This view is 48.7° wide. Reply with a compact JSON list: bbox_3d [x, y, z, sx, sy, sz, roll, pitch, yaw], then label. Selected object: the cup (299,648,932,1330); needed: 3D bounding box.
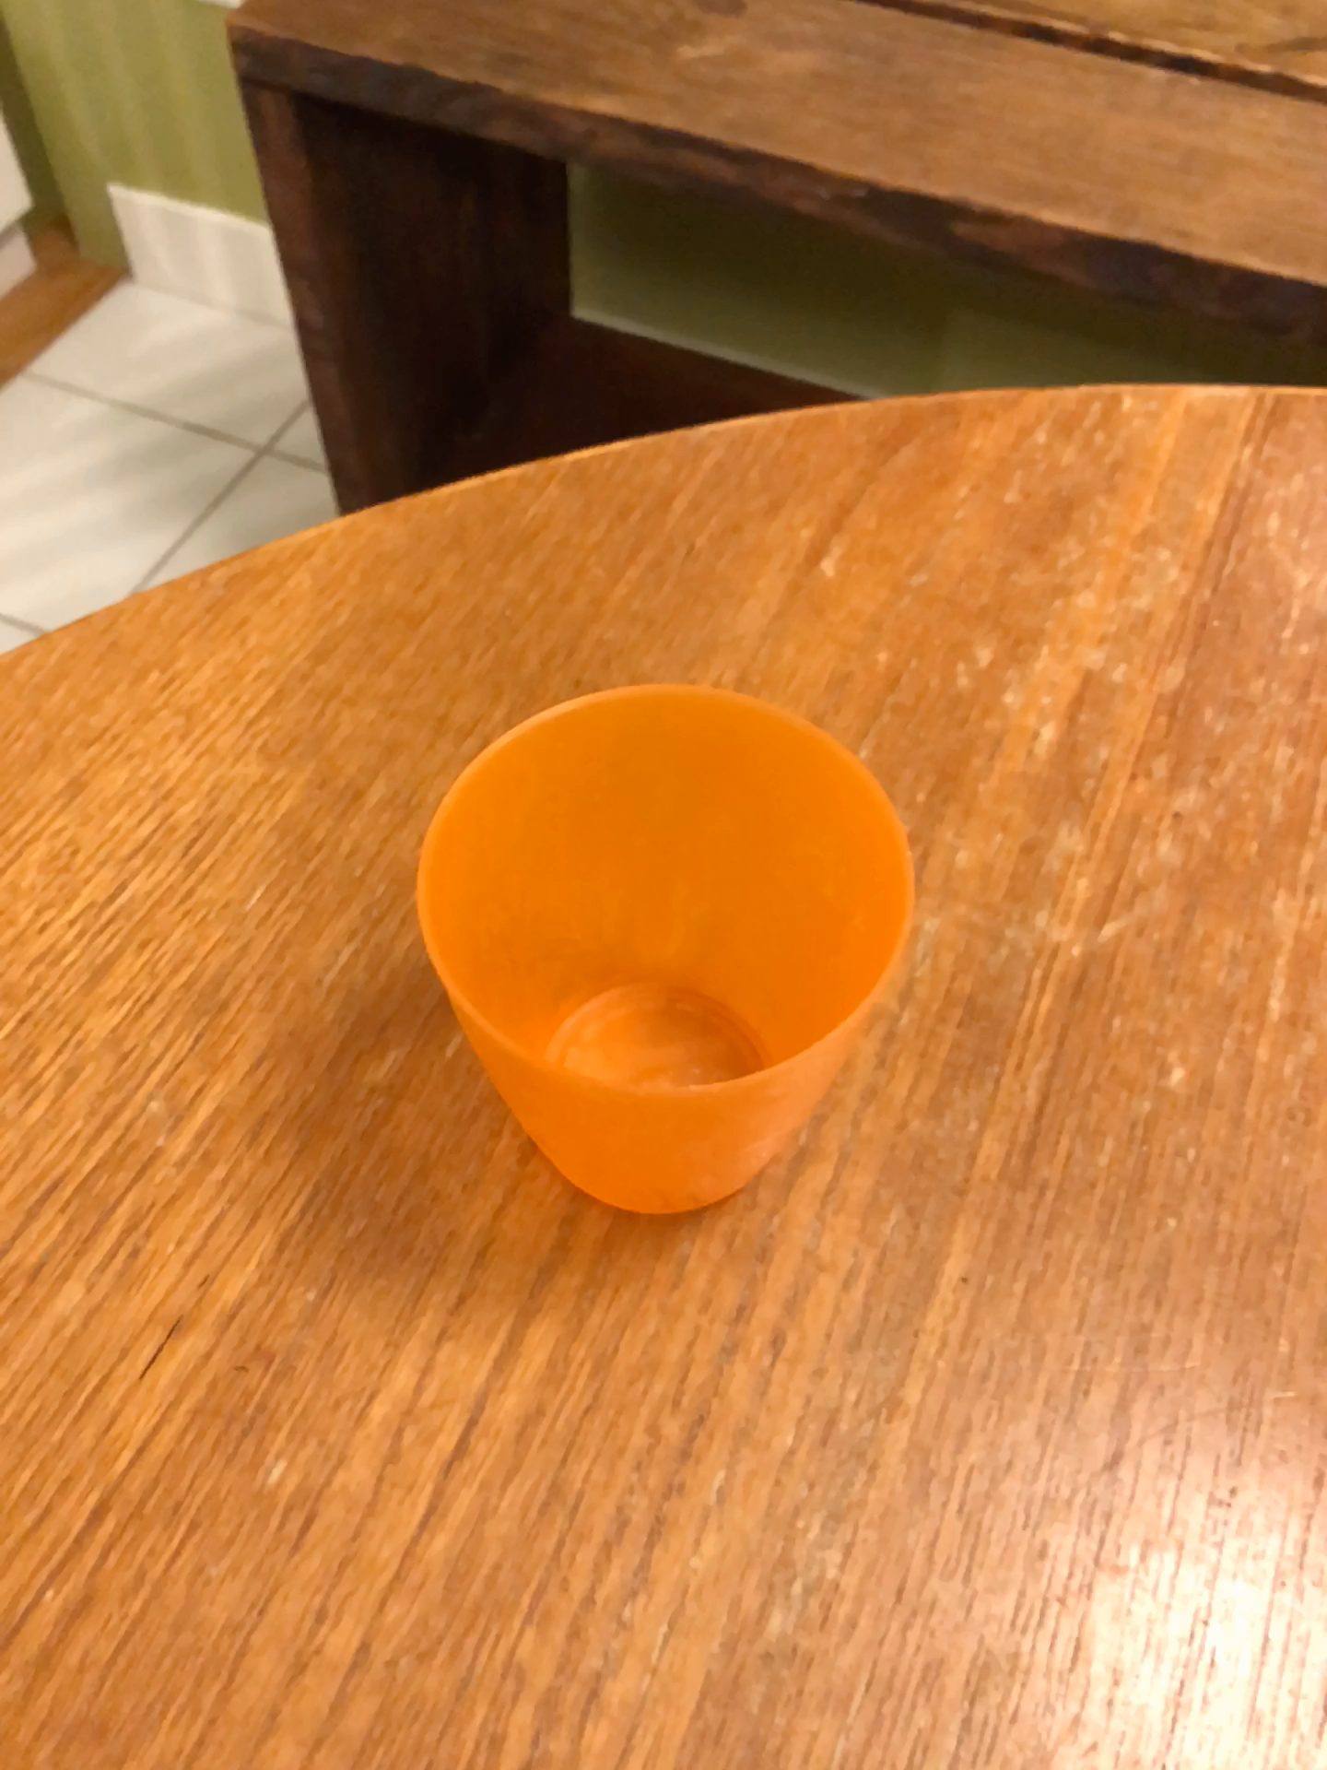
[{"bbox_3d":[-0.004,0.018,0.253,0.079,0.066,0.080,1,55,-1],"label":"cup"}]
